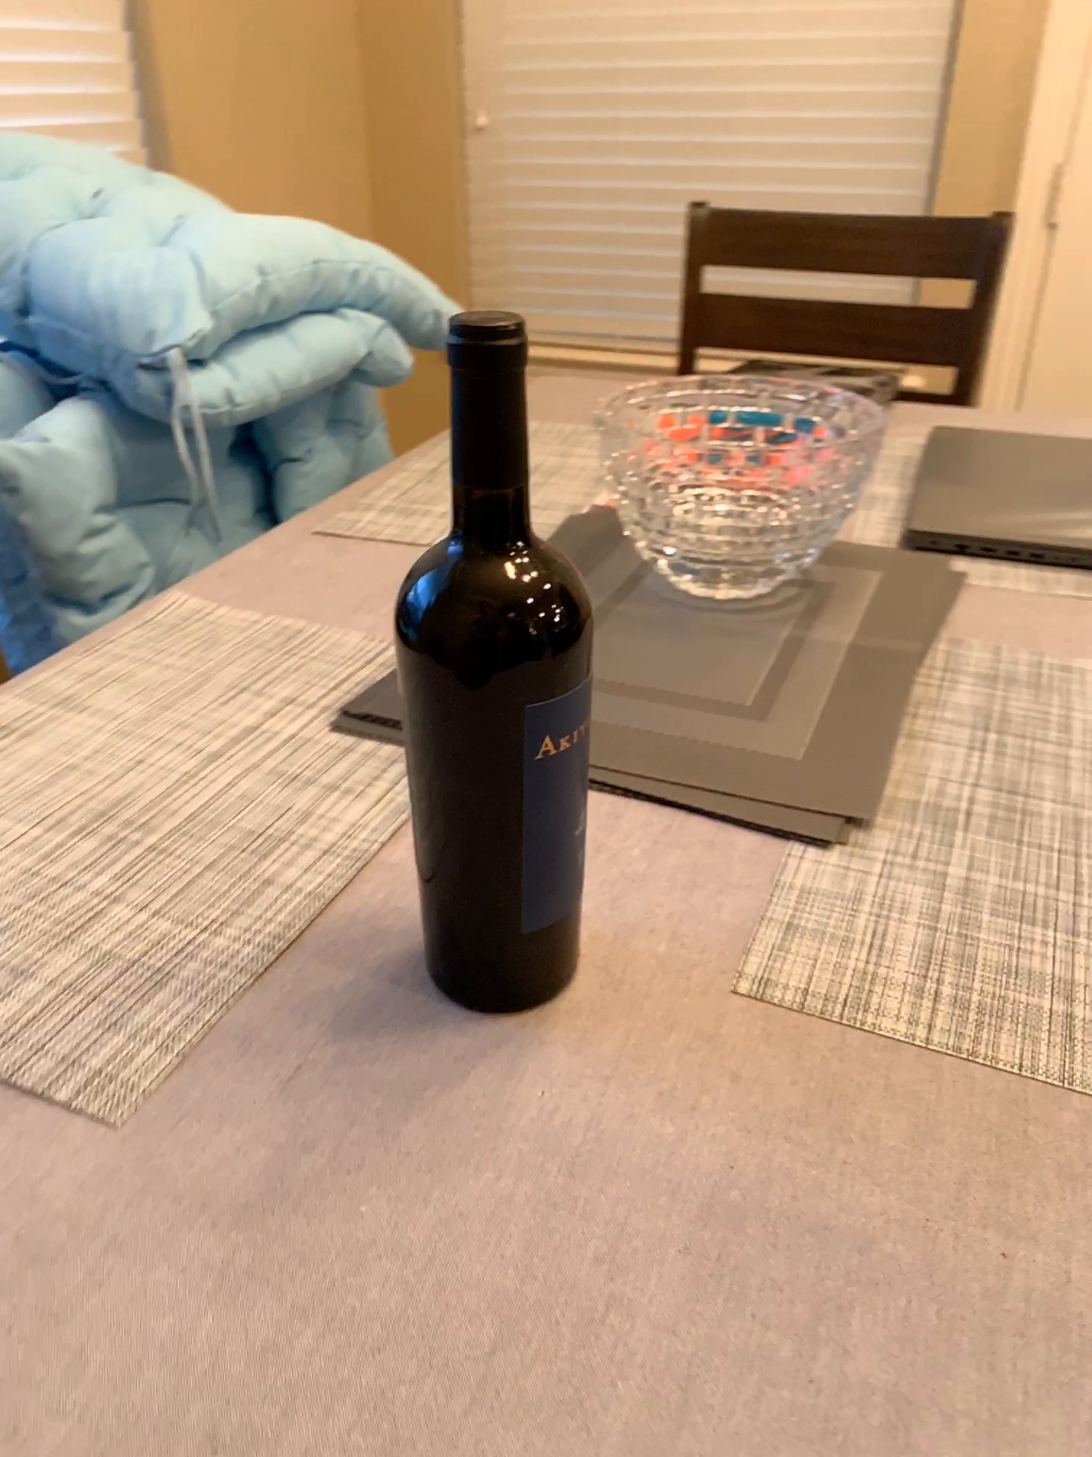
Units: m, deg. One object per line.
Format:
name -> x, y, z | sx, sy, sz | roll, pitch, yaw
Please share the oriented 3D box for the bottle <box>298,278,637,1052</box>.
bottle -> -0.023, -0.018, 0.466 | 0.090, 0.298, 0.090 | 0, 29, 0
